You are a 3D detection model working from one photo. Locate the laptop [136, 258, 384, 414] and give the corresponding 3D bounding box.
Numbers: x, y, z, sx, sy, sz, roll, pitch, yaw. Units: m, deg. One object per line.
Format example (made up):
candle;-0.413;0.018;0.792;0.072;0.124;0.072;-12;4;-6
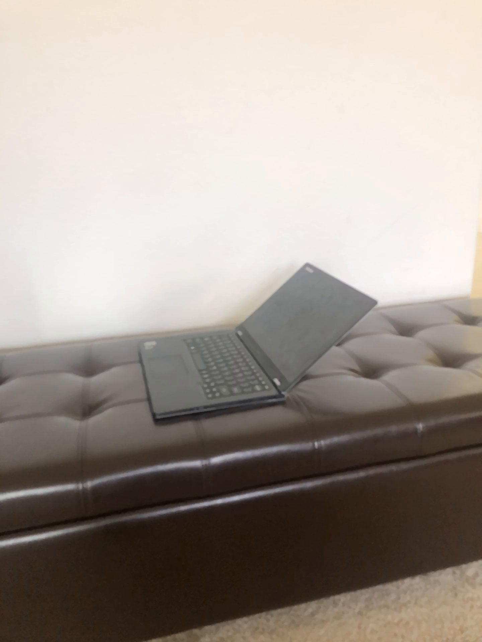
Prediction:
laptop;0.011;0.003;0.817;0.317;0.115;0.262;-8;20;-14
